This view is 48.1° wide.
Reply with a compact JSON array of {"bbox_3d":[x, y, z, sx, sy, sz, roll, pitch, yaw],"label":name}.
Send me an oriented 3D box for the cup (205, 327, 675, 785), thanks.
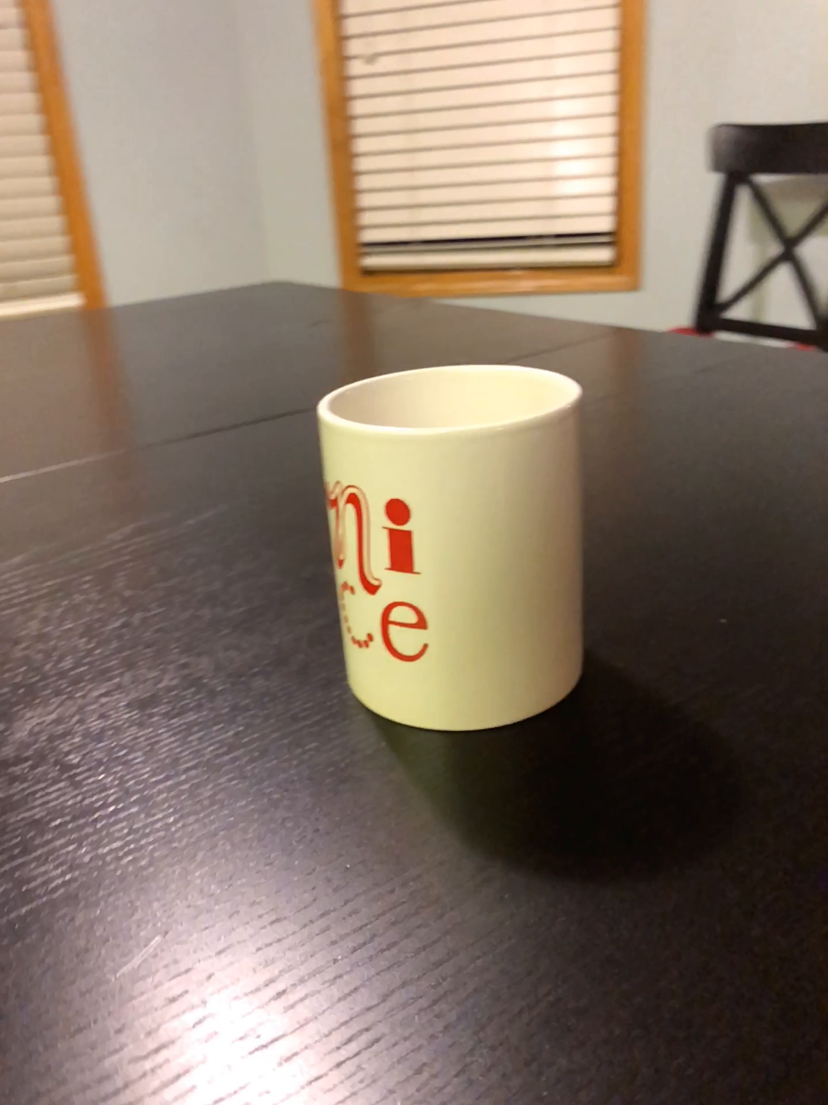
[{"bbox_3d":[0.005,-0.012,0.312,0.100,0.100,0.120,-16,25,-27],"label":"cup"}]
